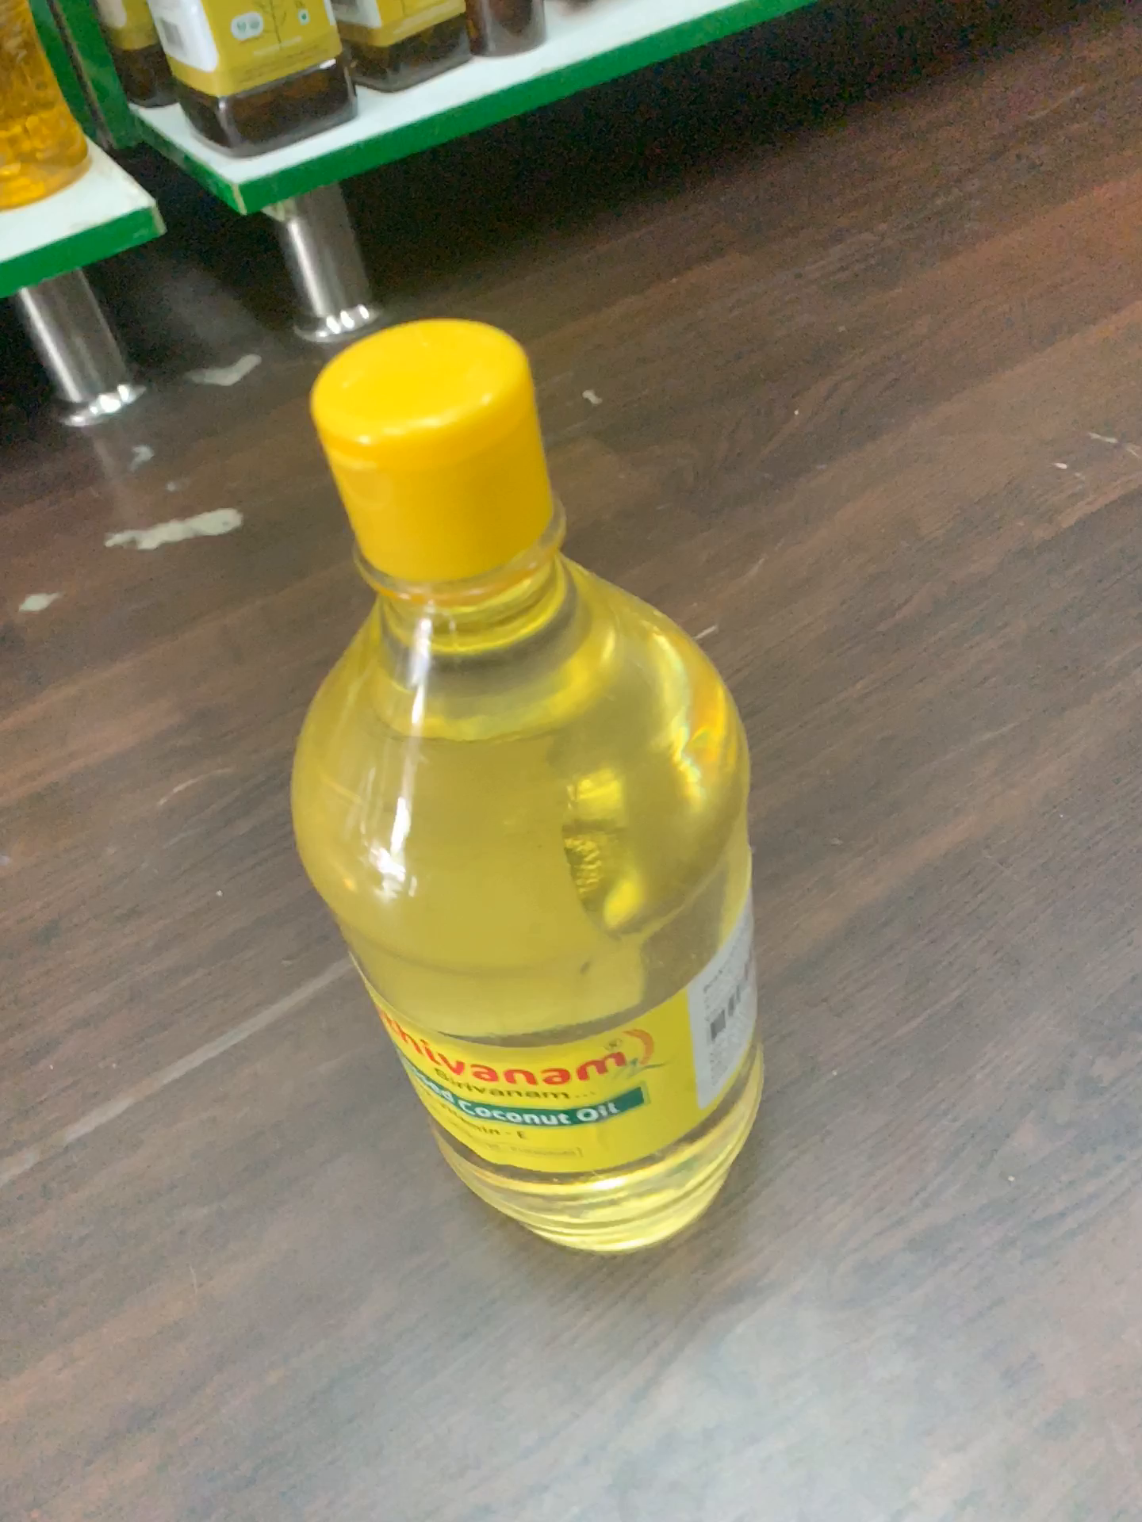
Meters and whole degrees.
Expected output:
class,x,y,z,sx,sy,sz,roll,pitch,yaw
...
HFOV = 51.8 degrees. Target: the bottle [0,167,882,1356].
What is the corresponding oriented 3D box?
class,x,y,z,sx,sy,sz,roll,pitch,yaw
bottle,-0.008,0.016,0.230,0.090,0.209,0.090,-6,47,6
